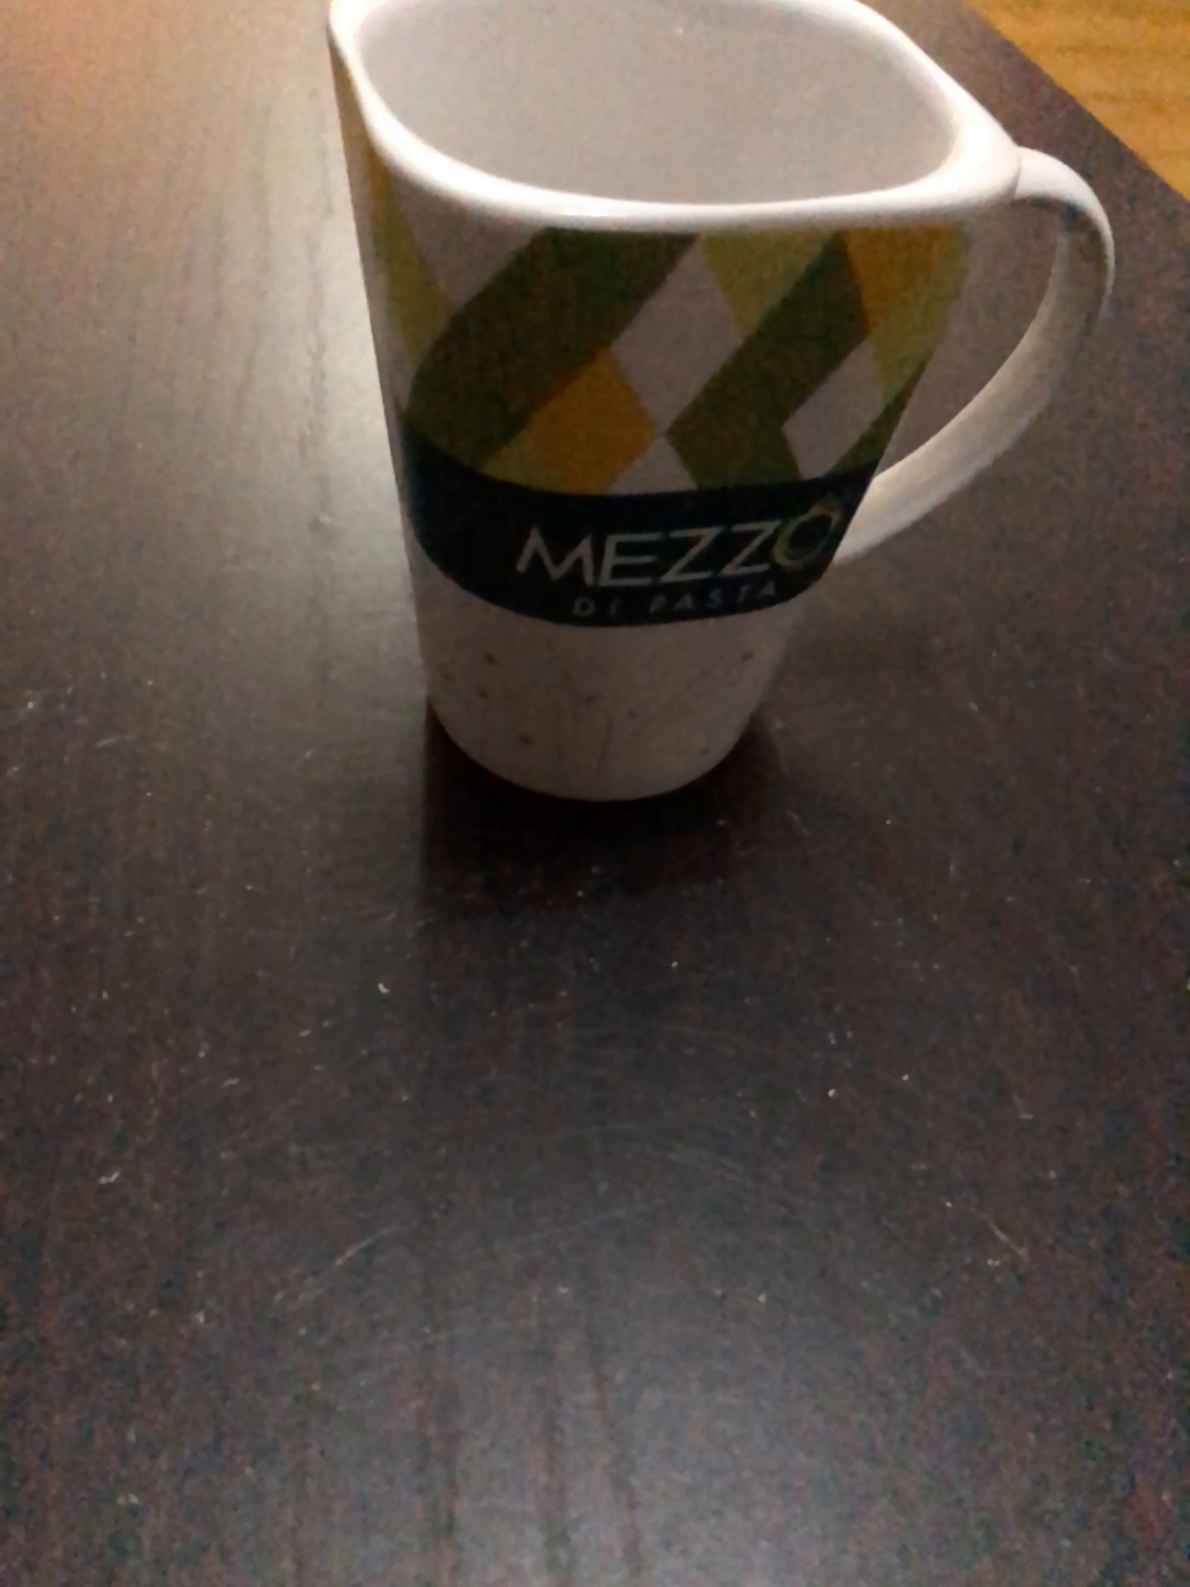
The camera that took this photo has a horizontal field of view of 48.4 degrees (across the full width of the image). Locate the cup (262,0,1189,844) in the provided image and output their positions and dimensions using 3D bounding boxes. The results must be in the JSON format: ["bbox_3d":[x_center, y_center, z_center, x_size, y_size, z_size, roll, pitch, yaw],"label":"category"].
[{"bbox_3d":[0.018,-0.062,0.192,0.110,0.089,0.080,-10,49,-16],"label":"cup"}]
